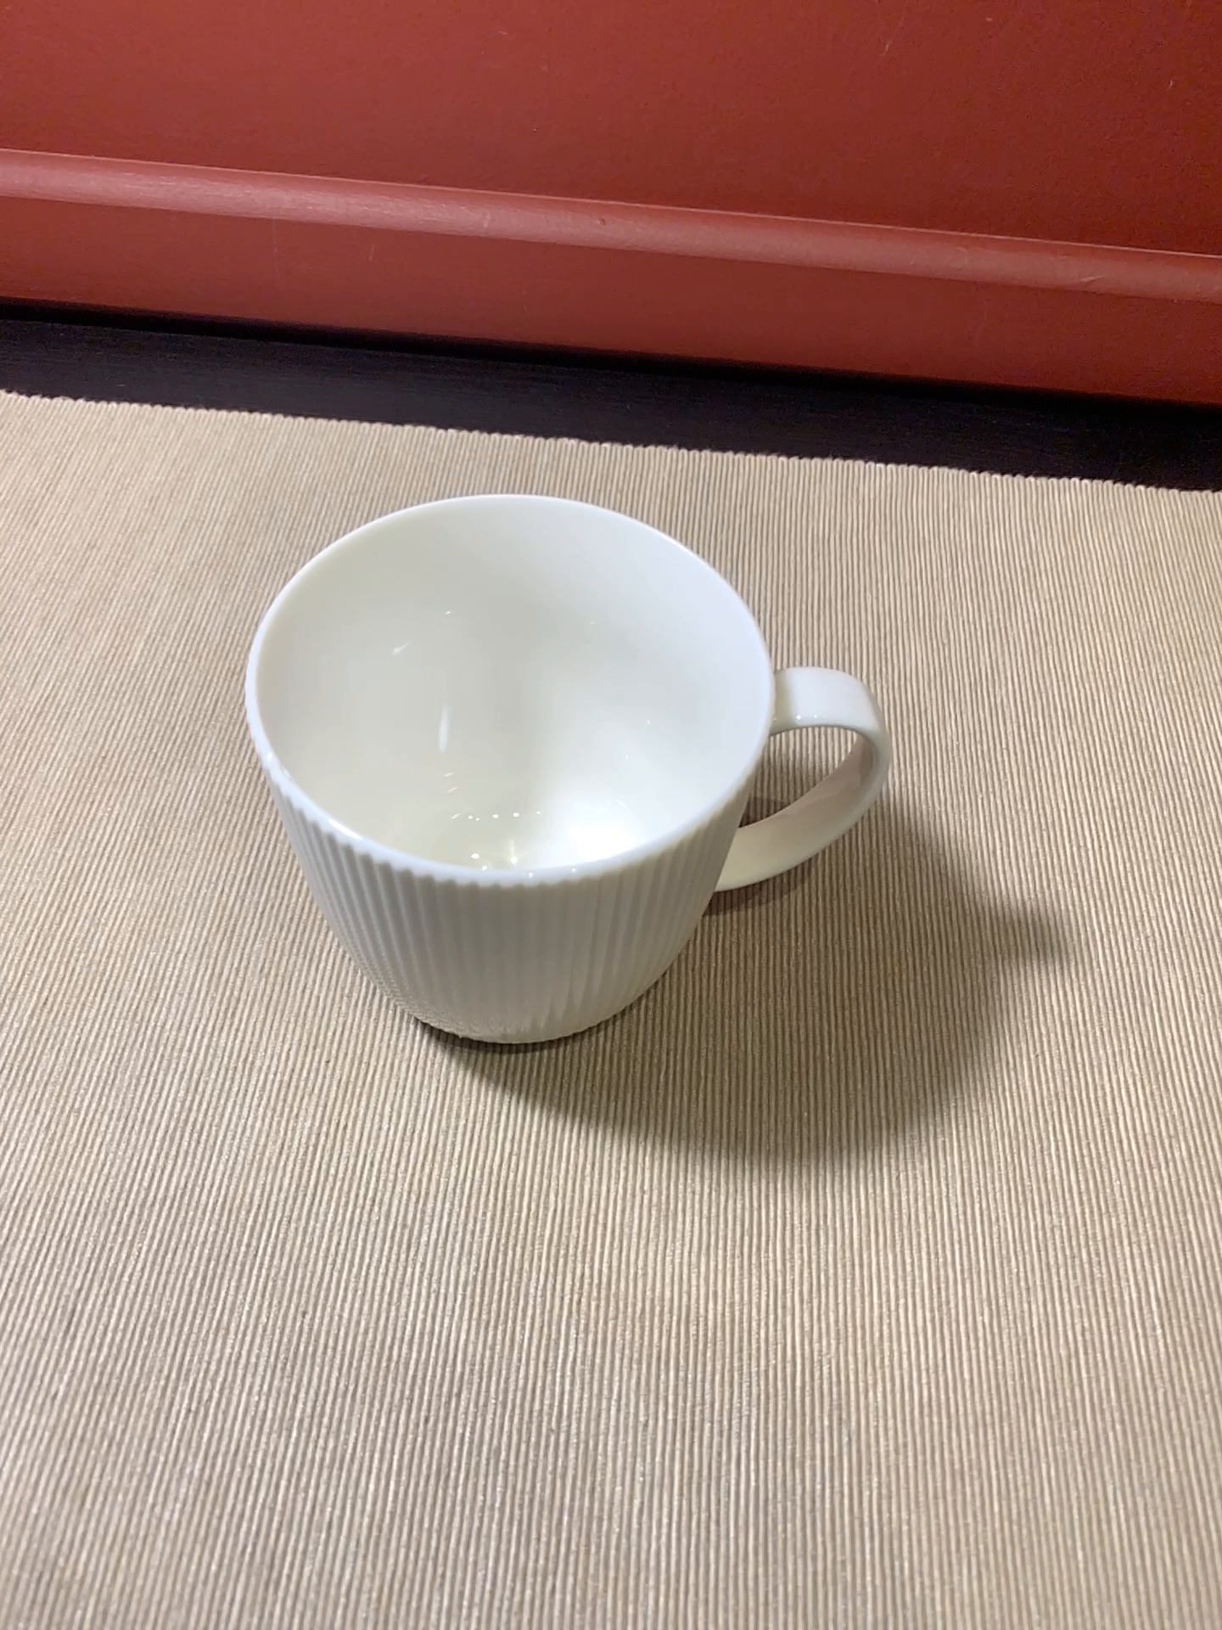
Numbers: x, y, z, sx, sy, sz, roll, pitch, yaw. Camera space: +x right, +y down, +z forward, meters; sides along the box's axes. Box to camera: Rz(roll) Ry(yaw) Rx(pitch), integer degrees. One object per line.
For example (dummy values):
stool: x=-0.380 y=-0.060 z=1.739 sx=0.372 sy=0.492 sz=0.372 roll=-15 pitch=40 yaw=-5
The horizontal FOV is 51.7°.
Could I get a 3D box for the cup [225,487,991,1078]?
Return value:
cup: x=-0.002 y=-0.007 z=0.232 sx=0.110 sy=0.060 sz=0.090 roll=0 pitch=52 yaw=-3
